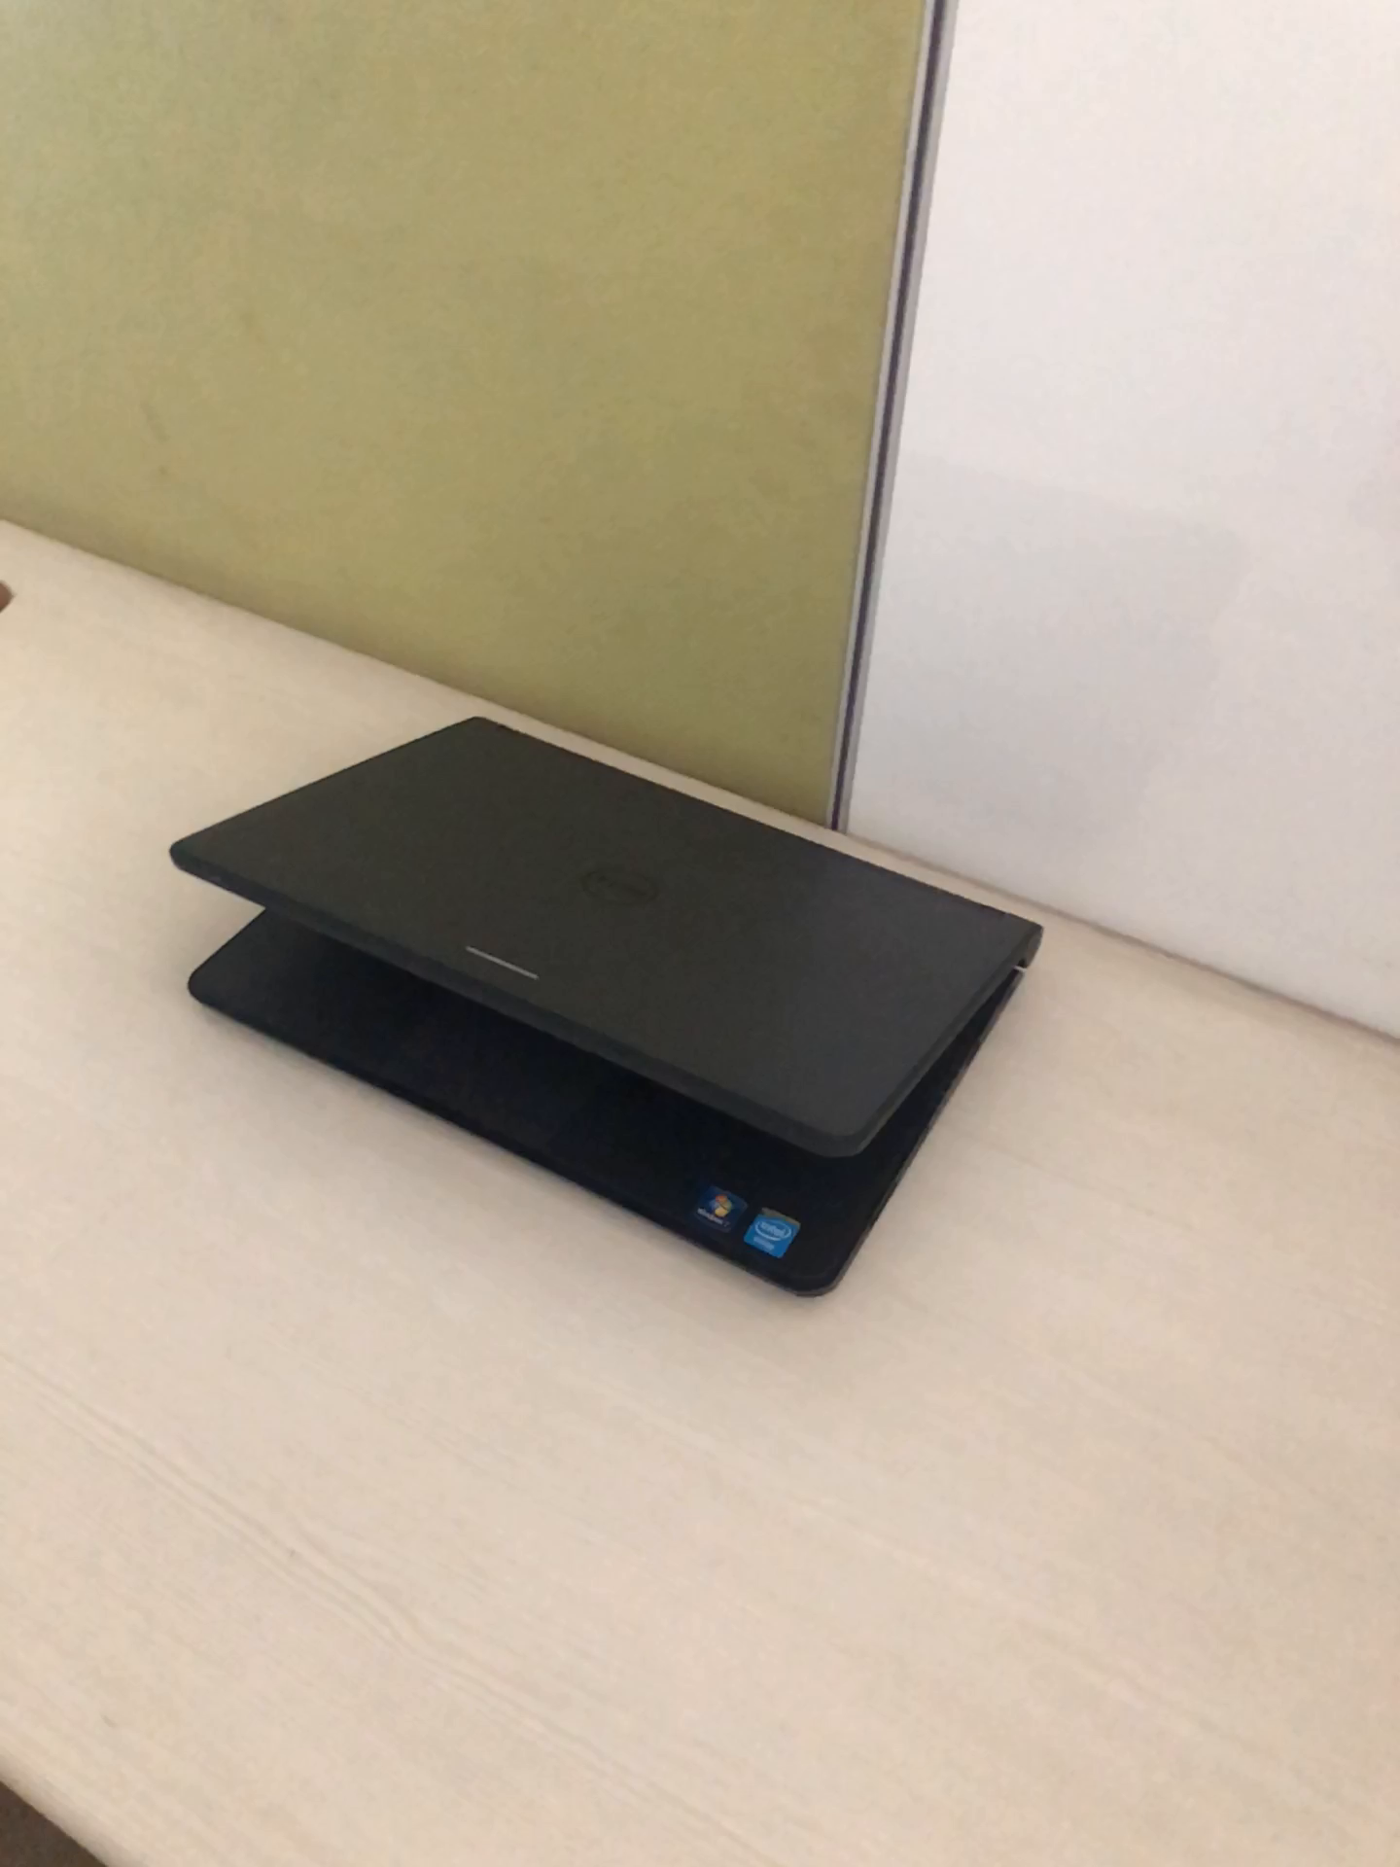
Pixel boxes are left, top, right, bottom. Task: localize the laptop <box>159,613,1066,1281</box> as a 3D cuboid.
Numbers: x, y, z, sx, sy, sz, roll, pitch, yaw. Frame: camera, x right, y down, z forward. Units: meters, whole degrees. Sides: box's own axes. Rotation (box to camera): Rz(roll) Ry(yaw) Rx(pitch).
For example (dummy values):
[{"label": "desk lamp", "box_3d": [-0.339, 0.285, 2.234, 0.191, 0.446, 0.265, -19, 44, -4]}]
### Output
[{"label": "laptop", "box_3d": [-0.034, -0.018, 0.693, 0.323, 0.072, 0.230, 22, 45, 21]}]
